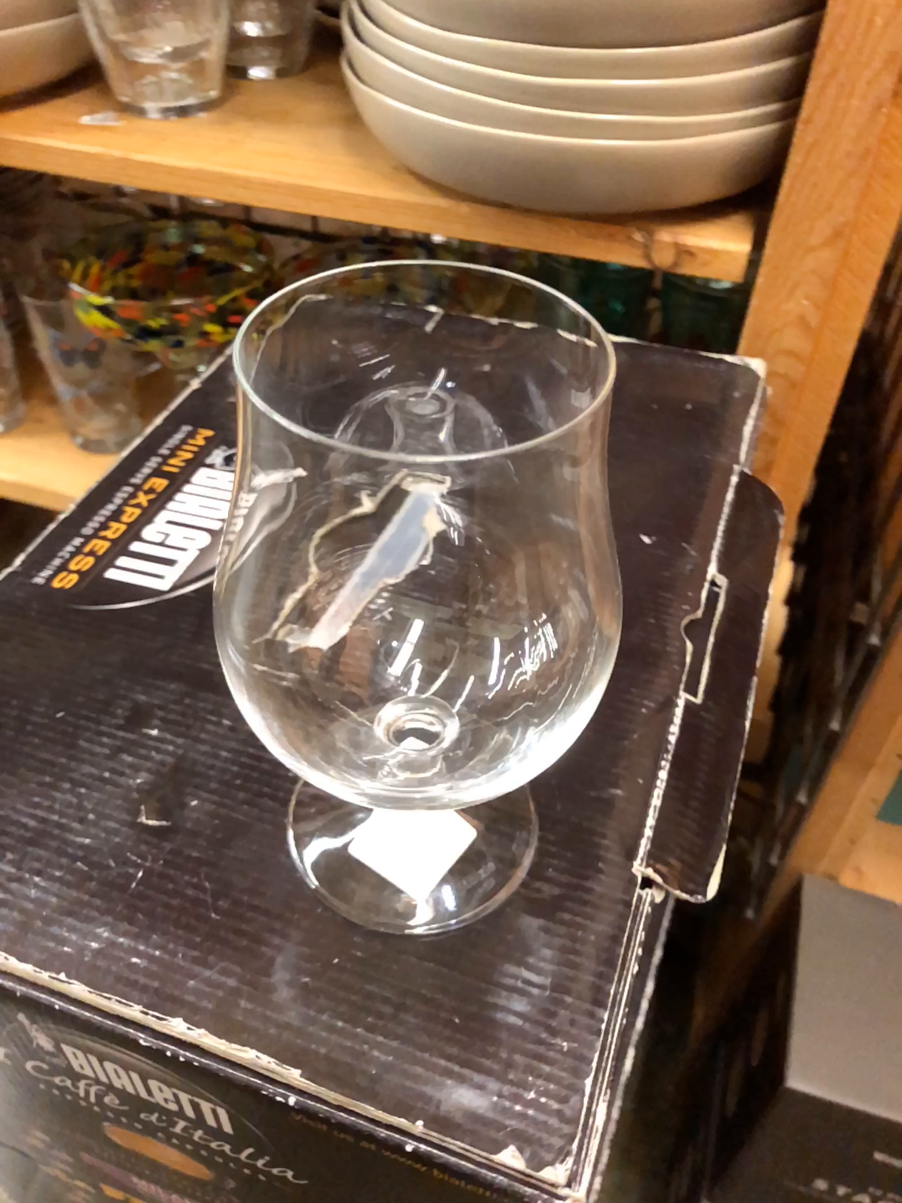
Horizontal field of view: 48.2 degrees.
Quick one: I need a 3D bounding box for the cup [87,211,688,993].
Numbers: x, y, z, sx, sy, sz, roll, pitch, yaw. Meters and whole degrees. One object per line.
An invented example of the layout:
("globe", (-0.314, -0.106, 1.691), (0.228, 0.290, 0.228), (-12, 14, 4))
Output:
("cup", (-0.008, 0.005, 0.227), (0.082, 0.145, 0.079), (1, 44, -1))
